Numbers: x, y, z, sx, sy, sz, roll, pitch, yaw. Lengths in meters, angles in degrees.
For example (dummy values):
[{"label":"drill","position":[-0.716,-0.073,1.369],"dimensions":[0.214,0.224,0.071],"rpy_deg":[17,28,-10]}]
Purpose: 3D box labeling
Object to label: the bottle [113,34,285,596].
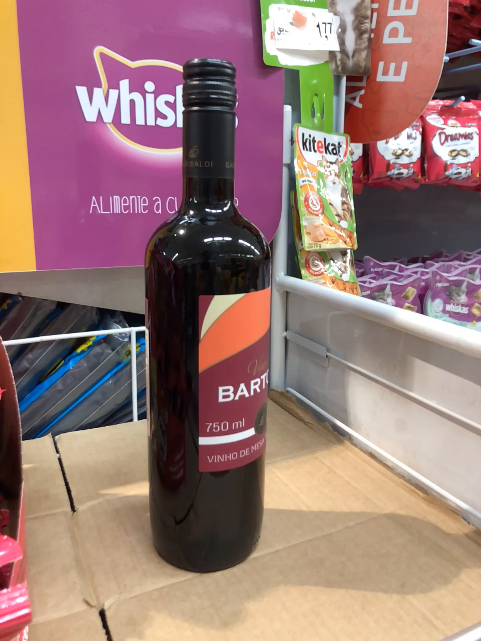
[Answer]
[{"label":"bottle","position":[-0.020,0.003,0.323],"dimensions":[0.060,0.299,0.080],"rpy_deg":[7,15,26]}]
